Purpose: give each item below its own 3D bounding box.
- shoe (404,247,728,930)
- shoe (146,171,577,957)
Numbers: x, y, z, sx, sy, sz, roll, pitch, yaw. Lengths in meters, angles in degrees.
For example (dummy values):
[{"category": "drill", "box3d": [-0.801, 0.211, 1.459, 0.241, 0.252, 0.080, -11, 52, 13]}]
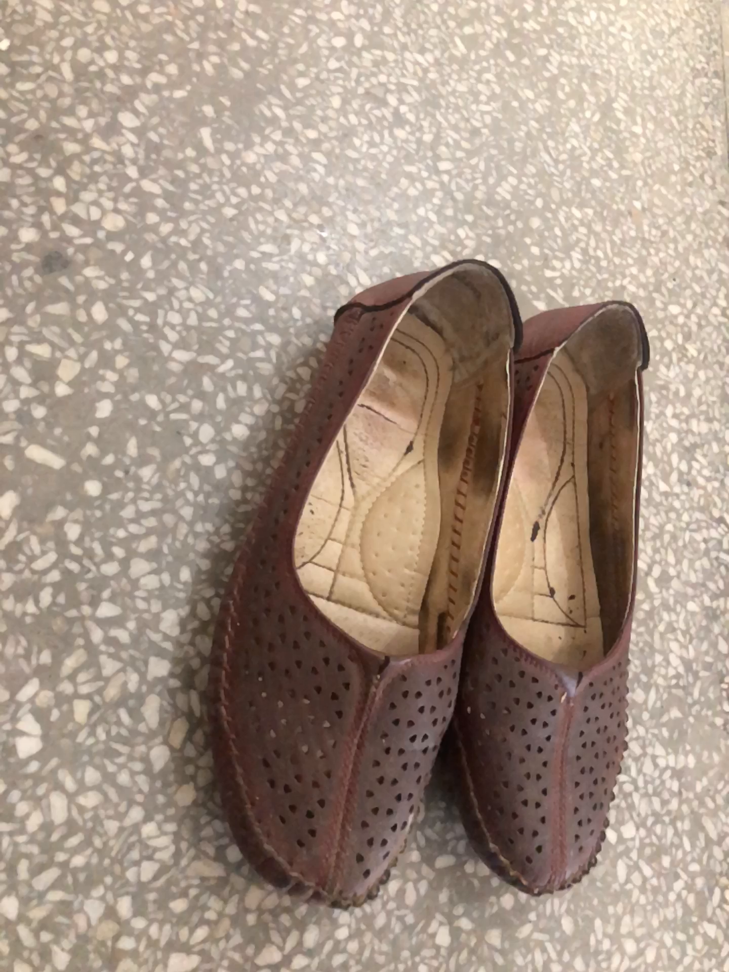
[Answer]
[{"category": "shoe", "box3d": [0.082, 0.038, 0.323, 0.095, 0.080, 0.231, 13, 68, -25]}, {"category": "shoe", "box3d": [0.007, 0.021, 0.289, 0.087, 0.080, 0.236, 21, 65, -22]}]
